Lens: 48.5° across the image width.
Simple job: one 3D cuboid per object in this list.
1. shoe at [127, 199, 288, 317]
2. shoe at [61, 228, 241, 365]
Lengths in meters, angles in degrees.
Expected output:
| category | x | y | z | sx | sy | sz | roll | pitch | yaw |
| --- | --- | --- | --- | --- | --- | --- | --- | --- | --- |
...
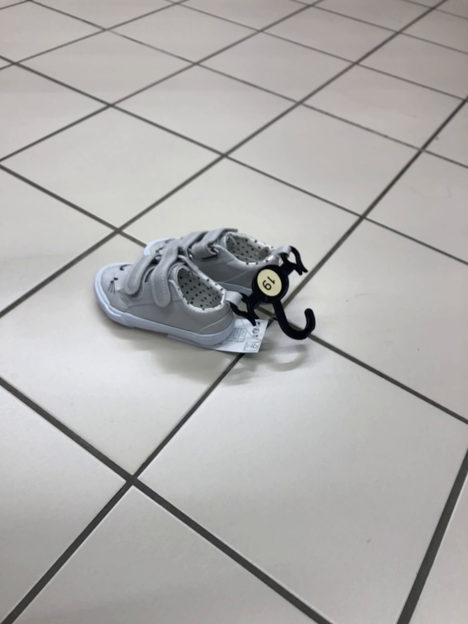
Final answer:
| category | x | y | z | sx | sy | sz | roll | pitch | yaw |
| --- | --- | --- | --- | --- | --- | --- | --- | --- | --- |
| shoe | -0.026 | -0.054 | 0.501 | 0.138 | 0.053 | 0.059 | 18 | 48 | 10 |
| shoe | -0.072 | -0.015 | 0.463 | 0.138 | 0.053 | 0.064 | 19 | 49 | 11 |
